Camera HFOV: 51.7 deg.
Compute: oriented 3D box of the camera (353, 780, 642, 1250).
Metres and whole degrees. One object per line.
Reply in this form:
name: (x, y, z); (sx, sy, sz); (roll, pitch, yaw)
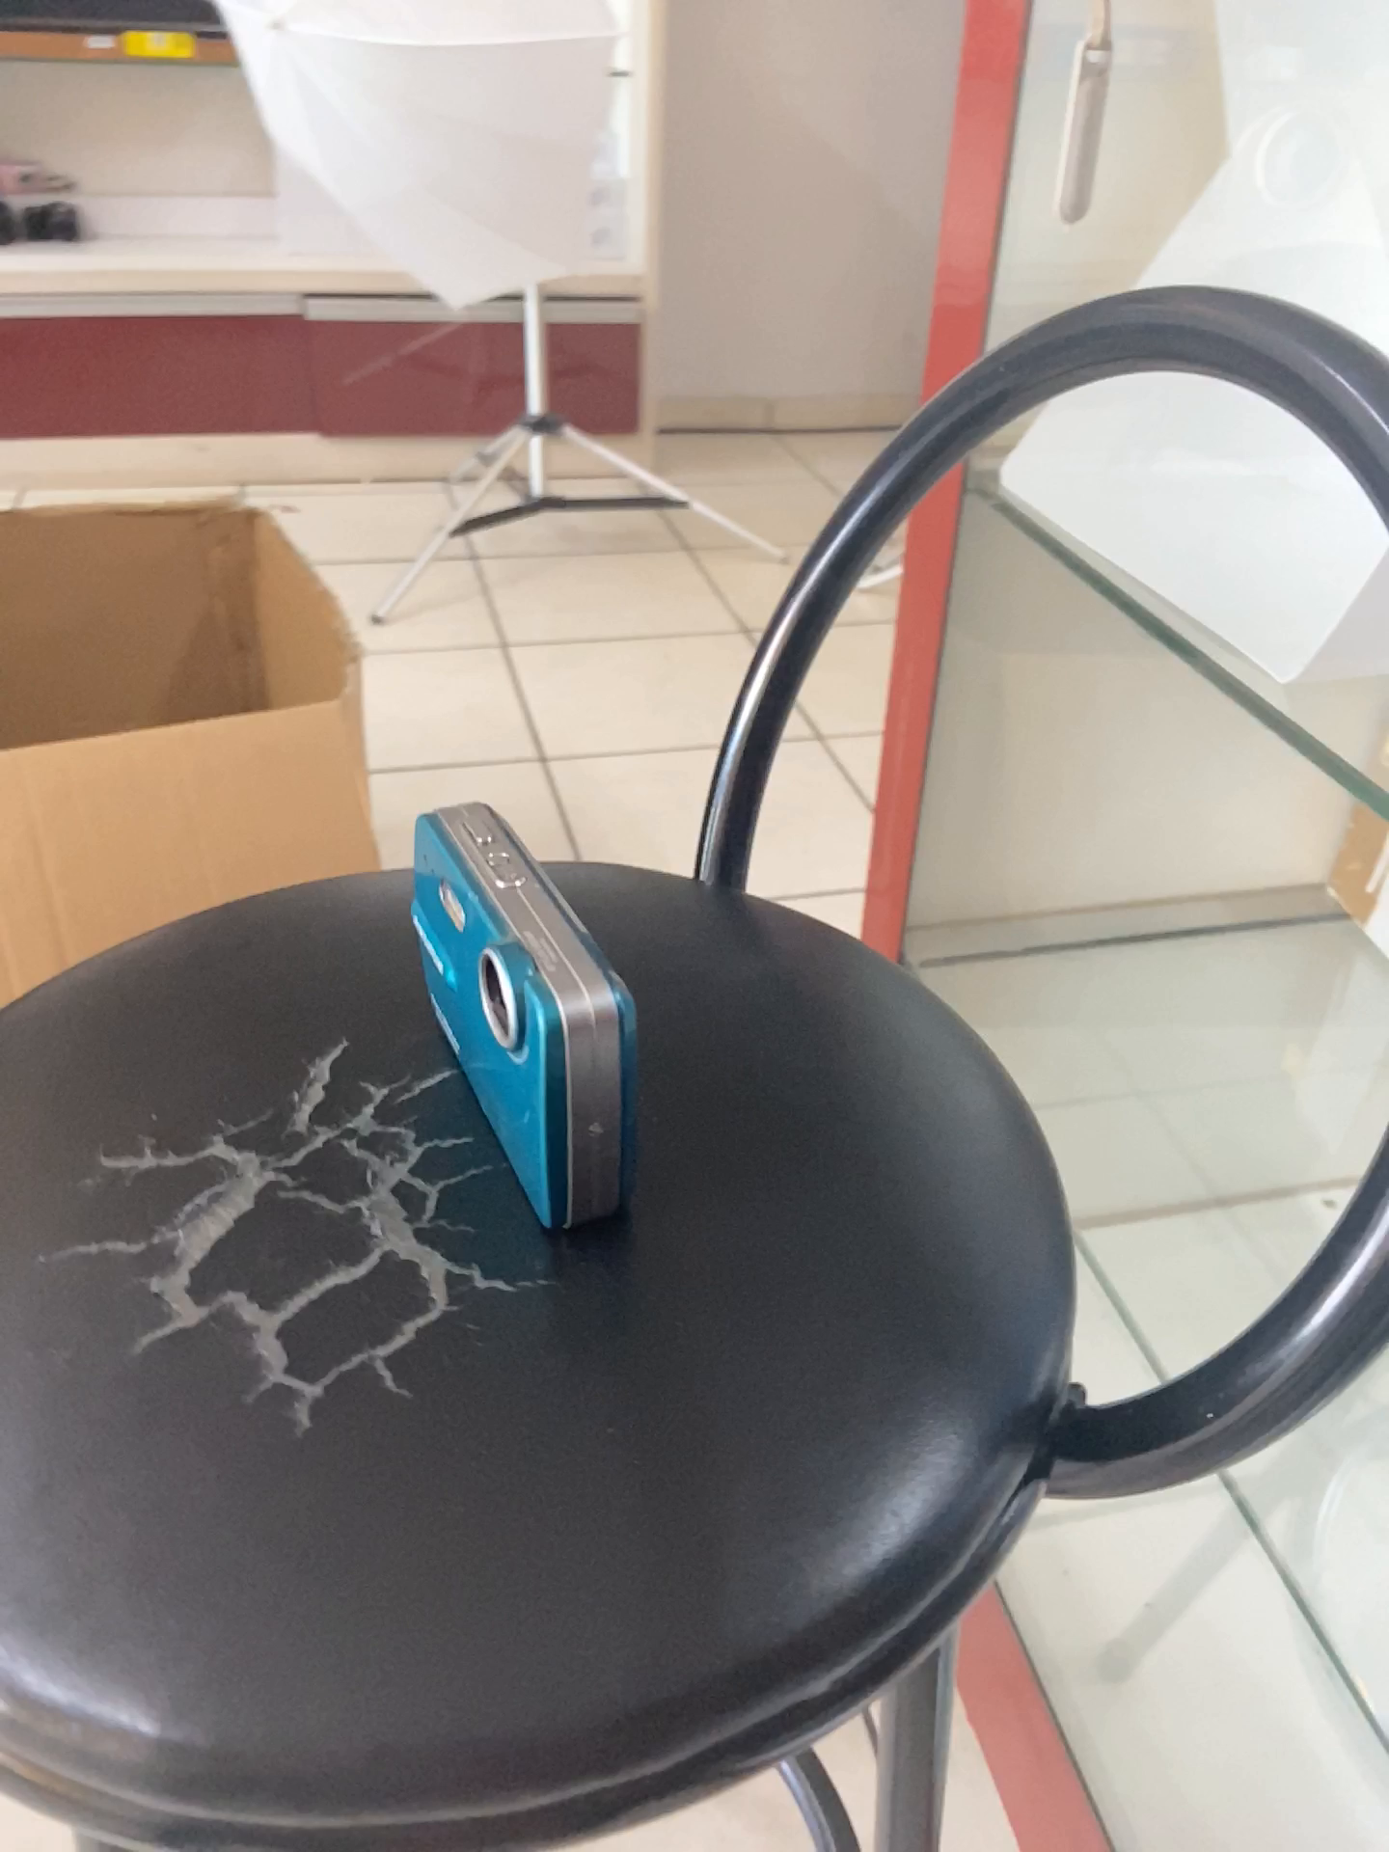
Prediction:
camera: (-0.045, 0.014, 0.312); (0.030, 0.050, 0.100); (-12, 35, -22)
